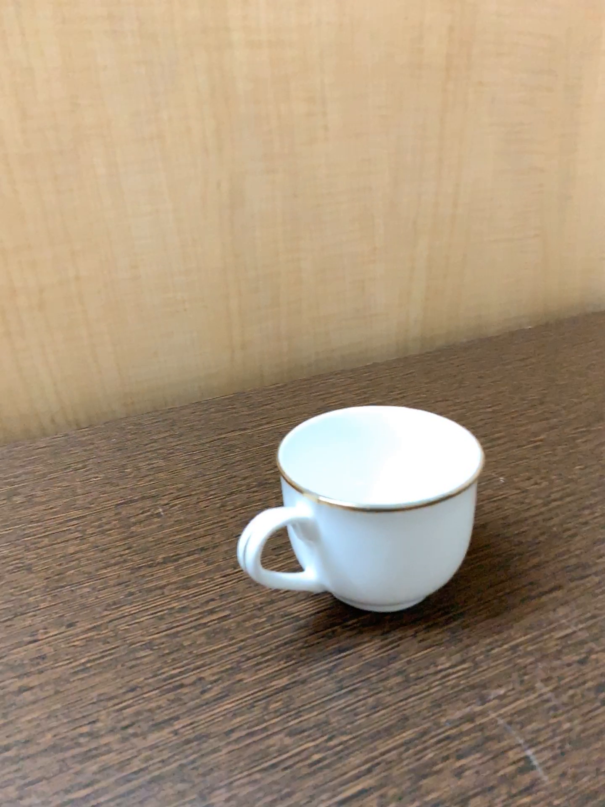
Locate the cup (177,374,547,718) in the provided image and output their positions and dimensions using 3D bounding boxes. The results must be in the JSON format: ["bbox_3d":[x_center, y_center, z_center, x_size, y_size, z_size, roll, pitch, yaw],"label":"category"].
[{"bbox_3d":[0.019,0.033,0.191,0.090,0.050,0.060,-19,28,-32],"label":"cup"}]
